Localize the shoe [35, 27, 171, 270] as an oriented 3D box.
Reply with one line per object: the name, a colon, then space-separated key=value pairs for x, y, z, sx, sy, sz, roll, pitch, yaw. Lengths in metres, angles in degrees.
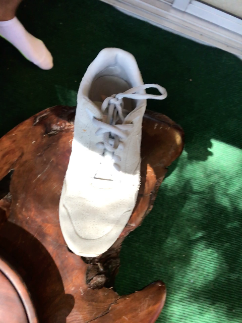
shoe: x=-0.016 y=-0.017 z=0.331 sx=0.102 sy=0.091 sz=0.264 roll=13 pitch=71 yaw=-8
